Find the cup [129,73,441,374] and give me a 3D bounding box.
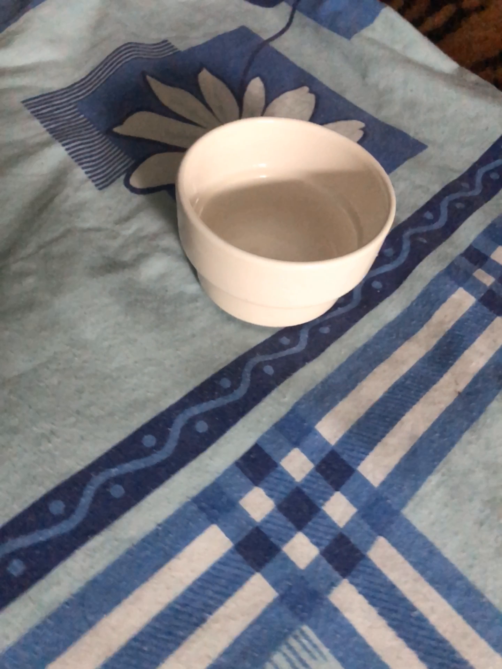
[{"bbox_3d":[0.009,-0.048,0.226,0.077,0.047,0.091,-28,66,-20],"label":"cup"}]
